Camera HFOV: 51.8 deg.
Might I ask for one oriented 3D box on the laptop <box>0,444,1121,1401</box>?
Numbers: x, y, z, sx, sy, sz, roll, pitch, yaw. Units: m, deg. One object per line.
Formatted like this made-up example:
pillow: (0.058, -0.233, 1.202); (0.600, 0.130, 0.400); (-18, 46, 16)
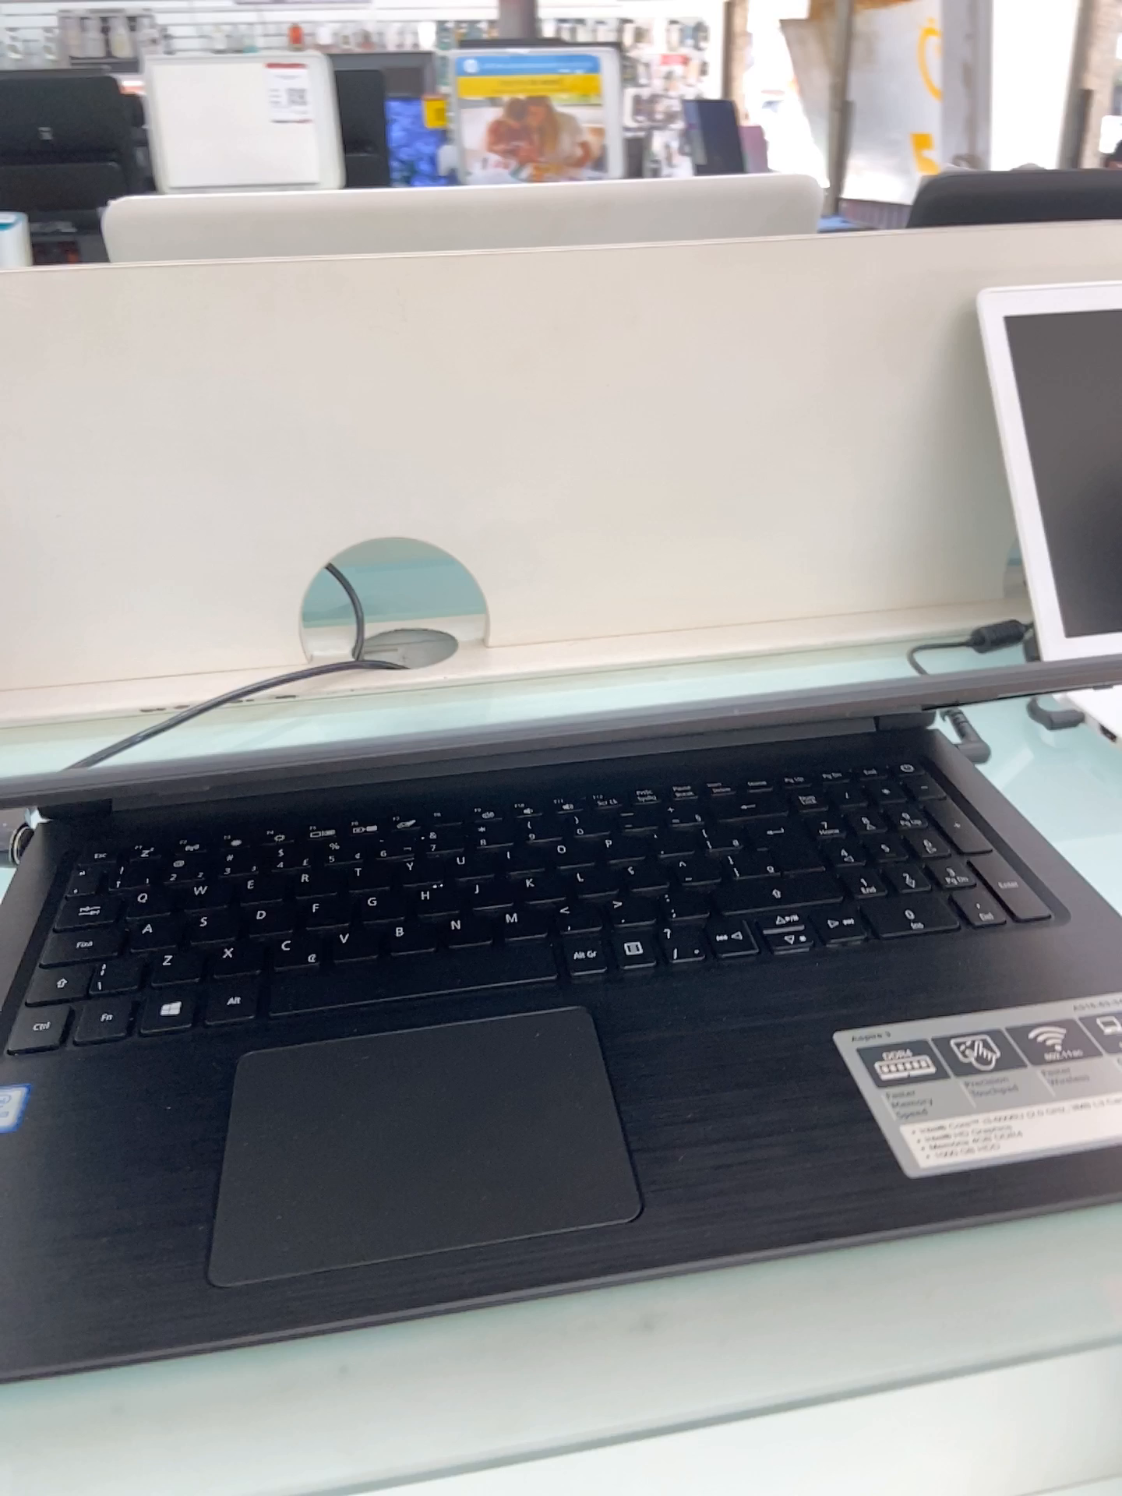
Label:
laptop: (-0.005, 0.012, 0.352); (0.379, 0.123, 0.240); (-6, 28, -7)

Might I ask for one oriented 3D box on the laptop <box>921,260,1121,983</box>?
laptop: (0.423, -0.102, 0.500); (0.381, 0.165, 0.352); (-6, 29, -10)
